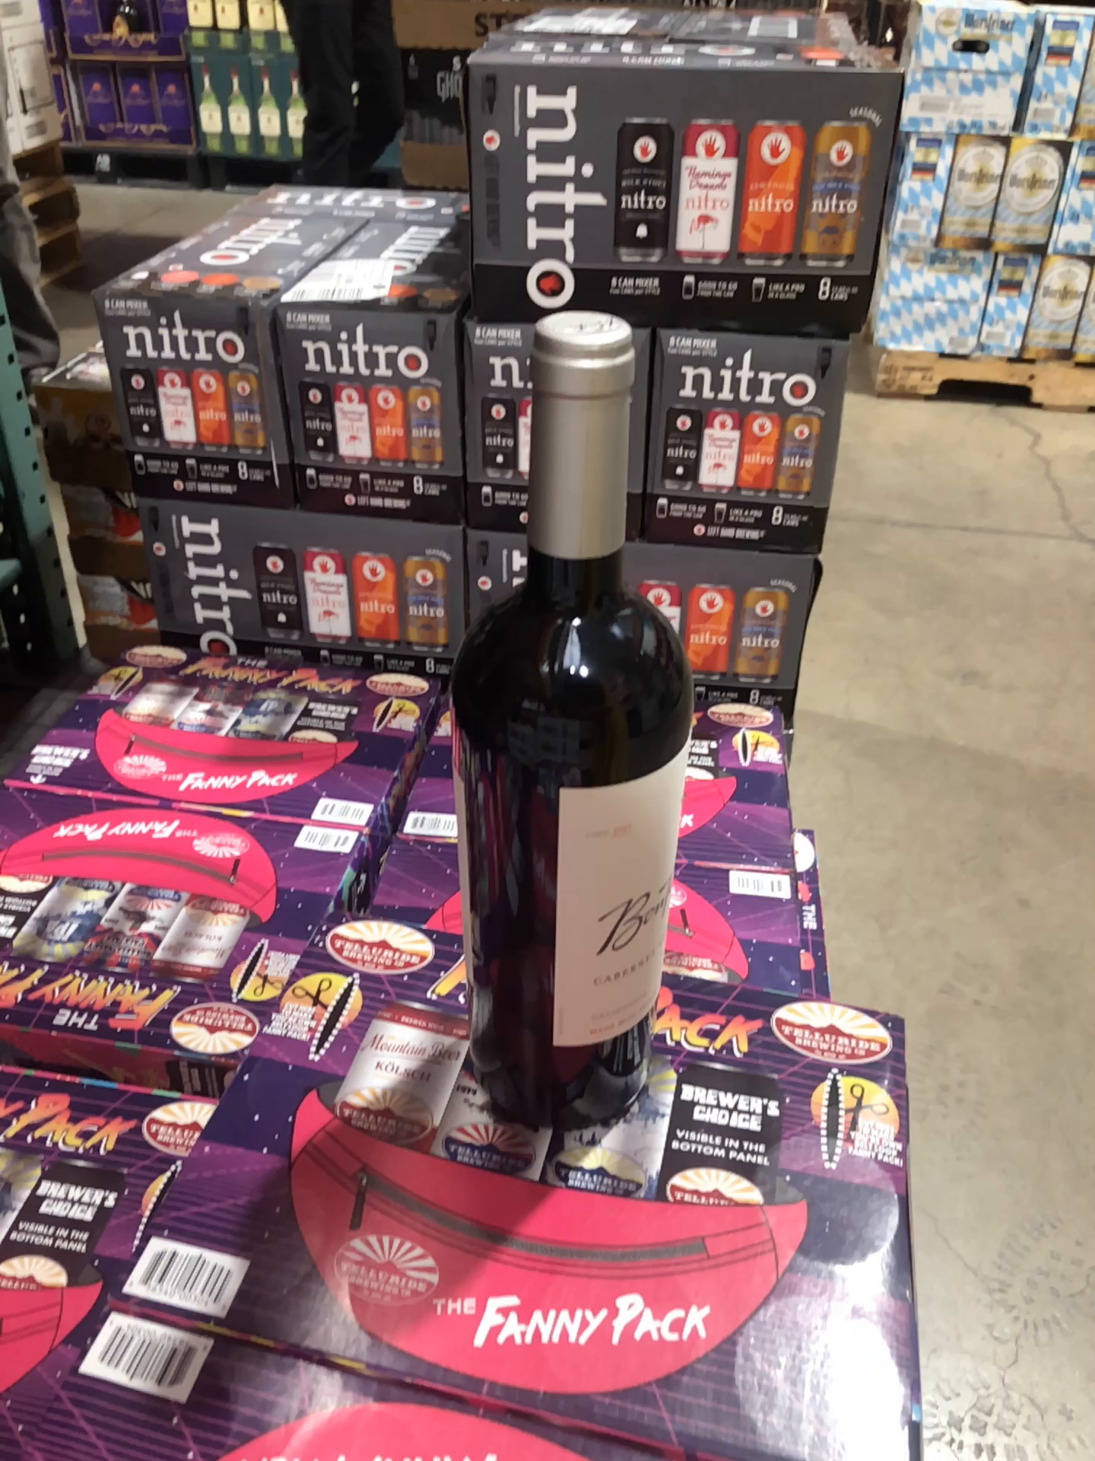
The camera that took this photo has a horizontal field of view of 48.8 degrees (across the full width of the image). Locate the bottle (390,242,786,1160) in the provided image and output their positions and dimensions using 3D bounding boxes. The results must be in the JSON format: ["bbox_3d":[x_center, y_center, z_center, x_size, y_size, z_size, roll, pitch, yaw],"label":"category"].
[{"bbox_3d":[0.010,0.005,0.409,0.080,0.298,0.080,1,34,-1],"label":"bottle"}]
